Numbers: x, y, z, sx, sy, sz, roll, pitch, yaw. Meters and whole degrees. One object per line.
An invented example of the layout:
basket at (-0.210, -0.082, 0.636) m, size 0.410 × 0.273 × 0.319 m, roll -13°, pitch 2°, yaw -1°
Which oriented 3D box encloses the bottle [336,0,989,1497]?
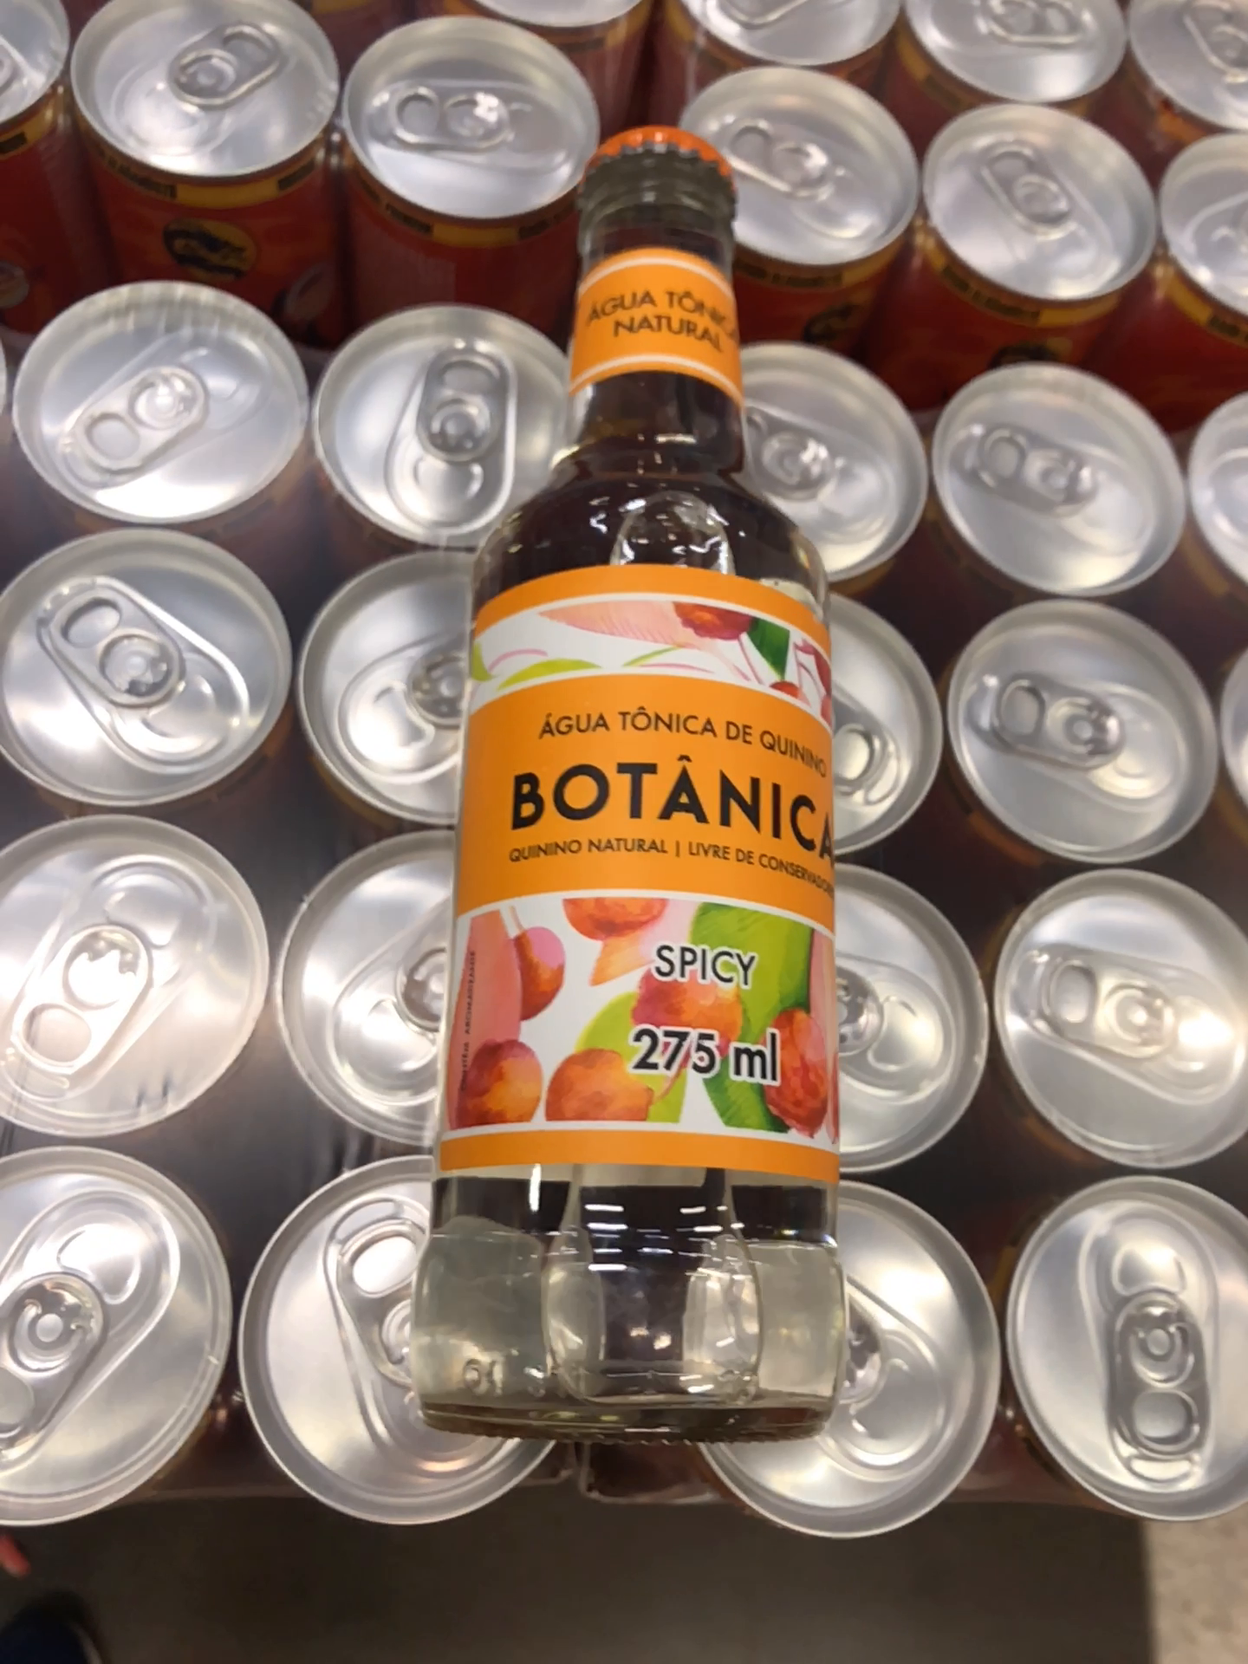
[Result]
bottle at (0.005, -0.025, 0.201) m, size 0.070 × 0.050 × 0.210 m, roll 4°, pitch 74°, yaw -8°
